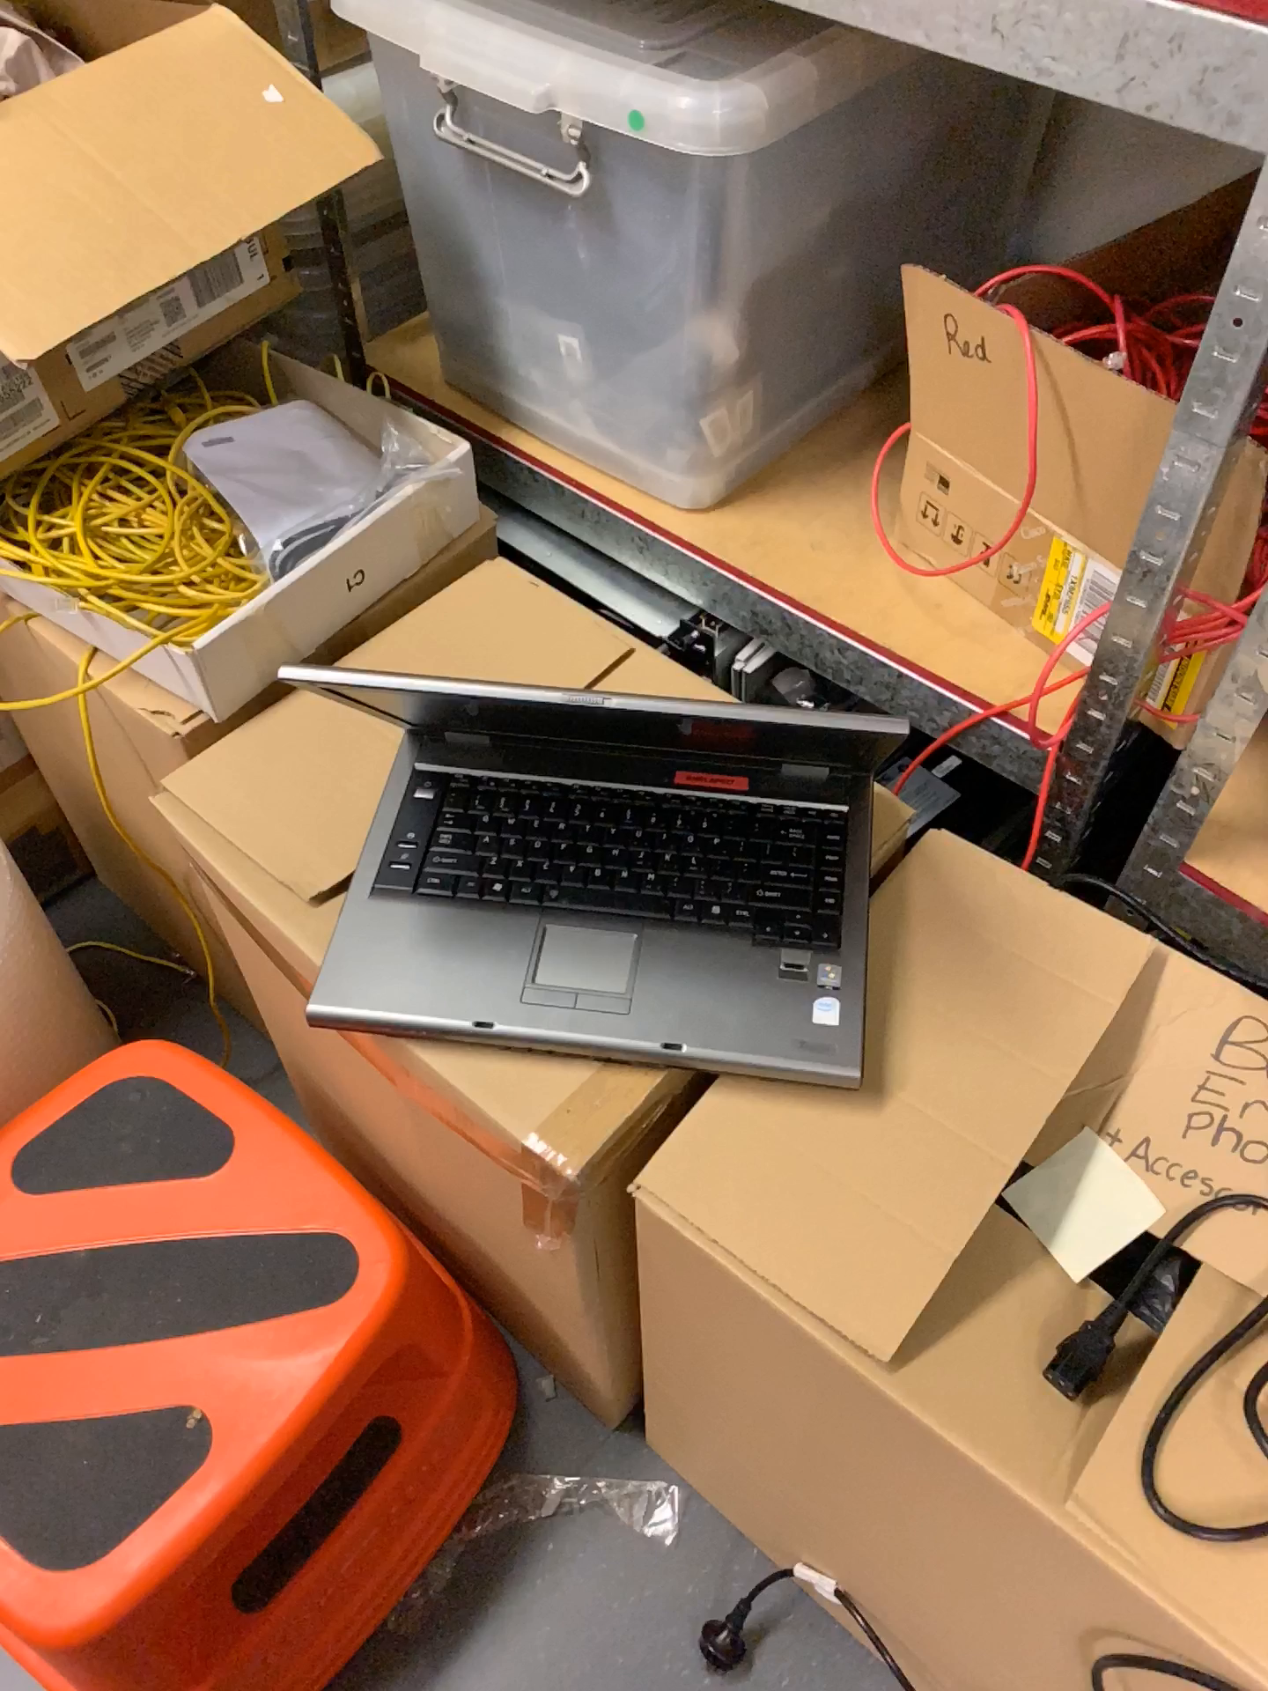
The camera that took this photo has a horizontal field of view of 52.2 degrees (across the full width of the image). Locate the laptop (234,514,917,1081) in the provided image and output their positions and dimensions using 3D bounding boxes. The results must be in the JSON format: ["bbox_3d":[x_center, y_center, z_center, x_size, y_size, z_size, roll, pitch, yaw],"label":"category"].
[{"bbox_3d":[-0.018,-0.035,0.812,0.352,0.203,0.254,6,51,7],"label":"laptop"}]
